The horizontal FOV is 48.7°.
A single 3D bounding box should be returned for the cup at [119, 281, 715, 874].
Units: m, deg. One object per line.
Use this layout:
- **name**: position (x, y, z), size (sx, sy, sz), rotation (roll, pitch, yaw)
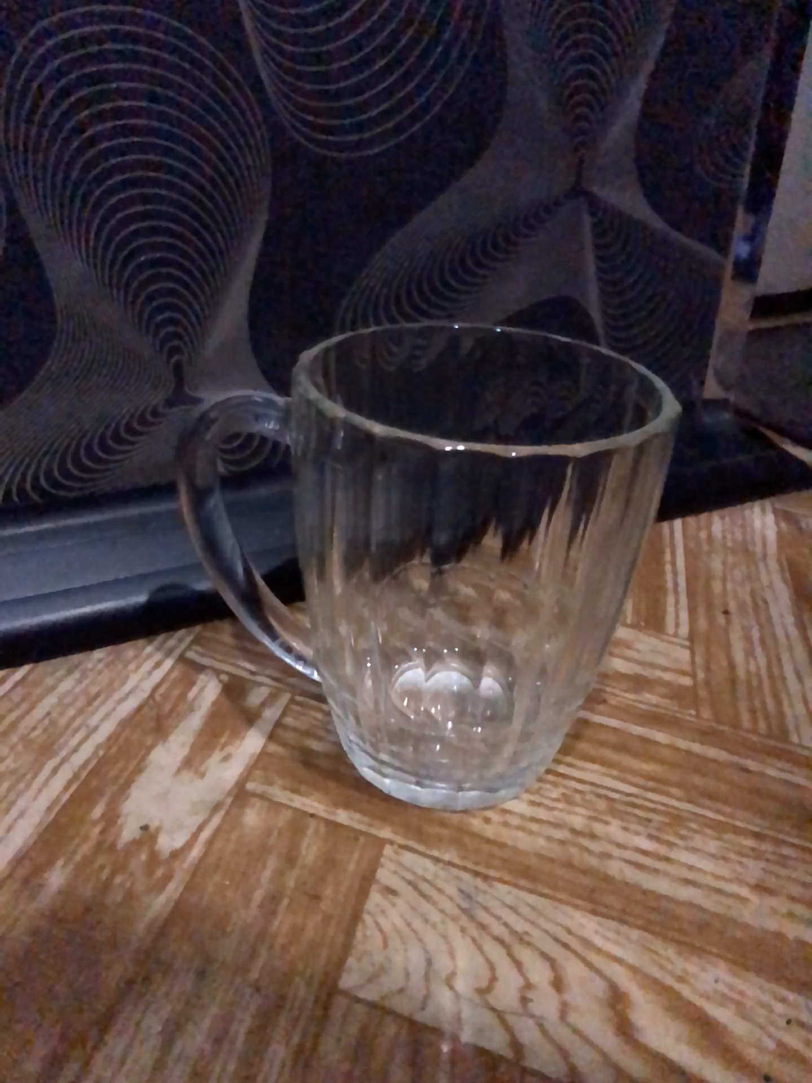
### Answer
- **cup**: position (0.010, -0.003, 0.261), size (0.126, 0.107, 0.114), rotation (13, 30, 17)
